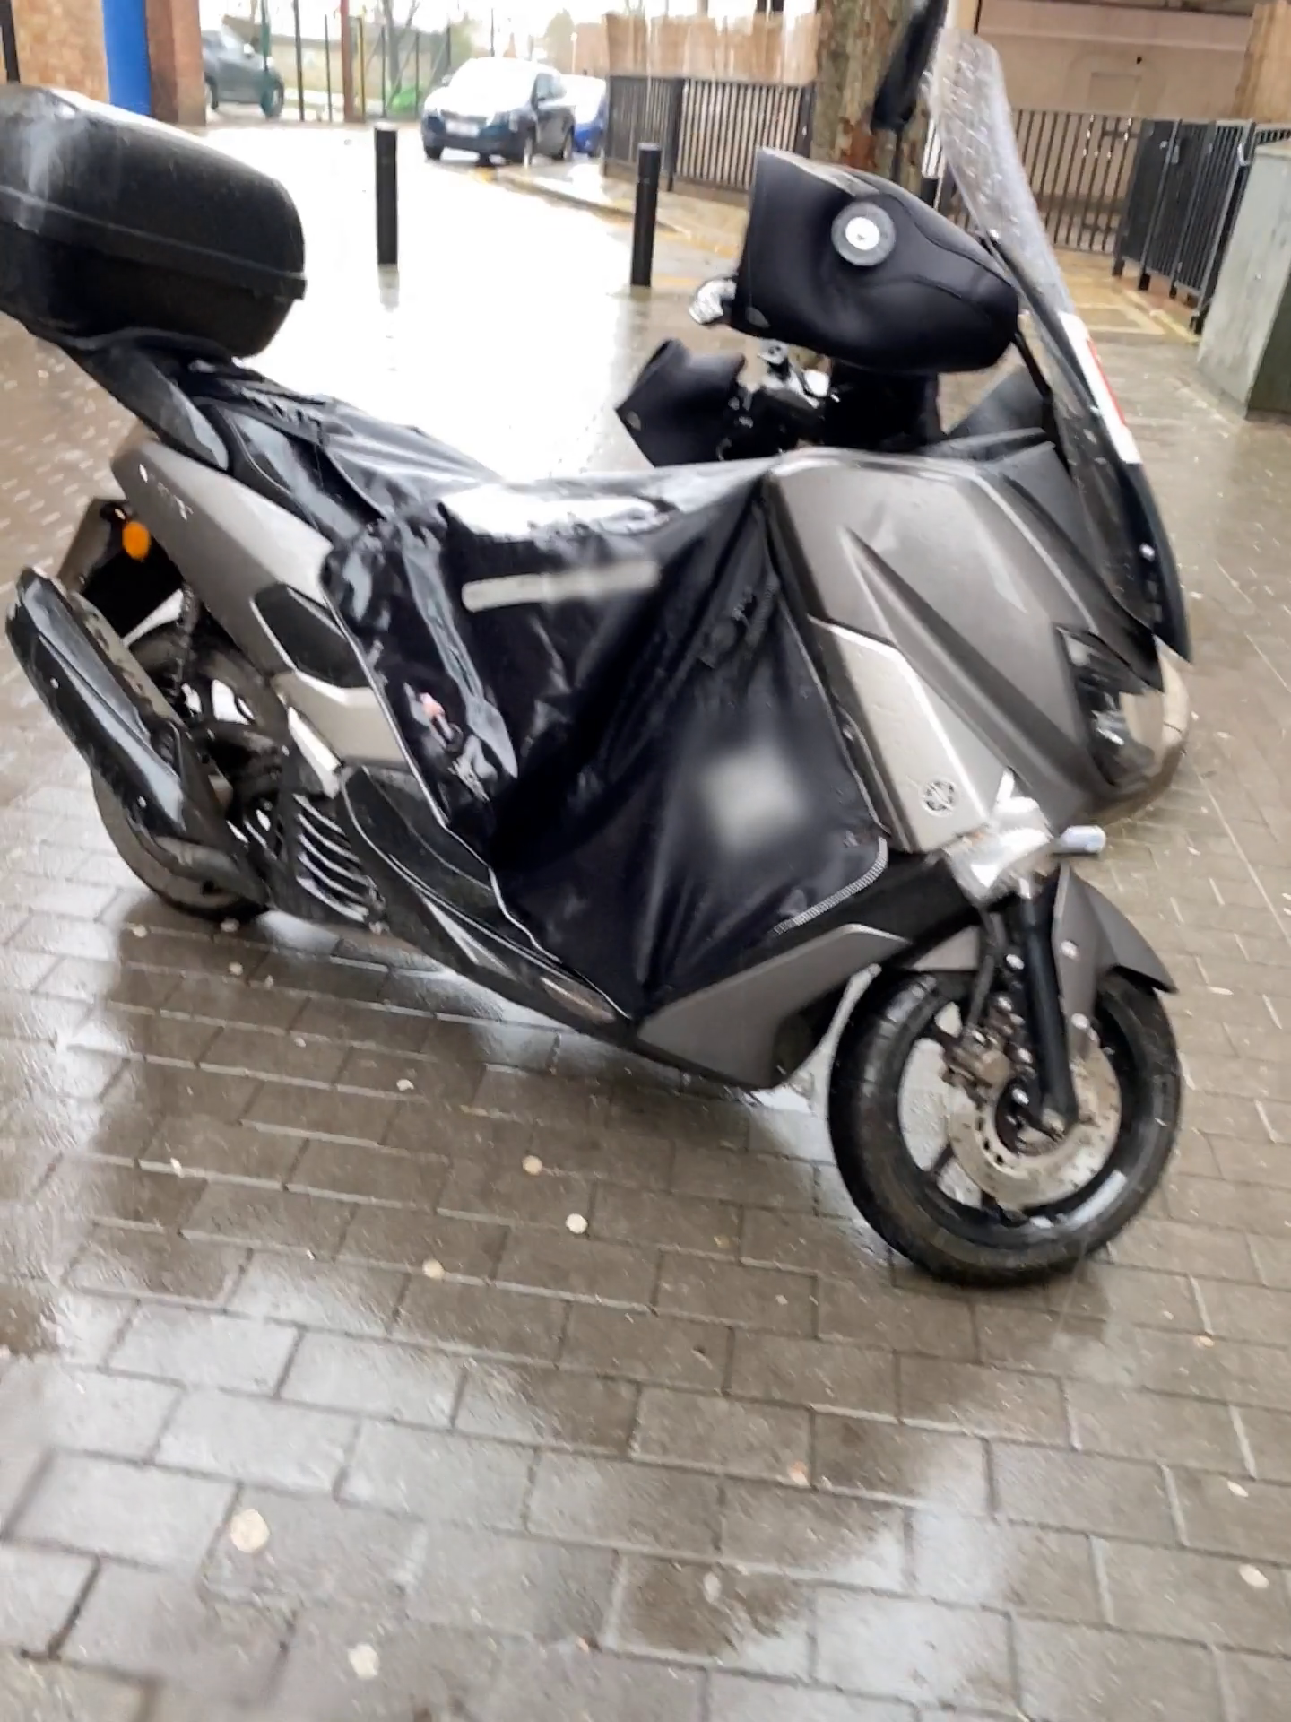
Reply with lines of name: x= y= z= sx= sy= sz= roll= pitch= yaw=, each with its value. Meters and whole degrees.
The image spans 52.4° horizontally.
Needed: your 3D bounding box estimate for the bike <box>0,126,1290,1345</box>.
bike: x=-0.032 y=-0.296 z=1.883 sx=1.731 sy=1.121 sz=0.763 roll=16 pitch=31 yaw=16
